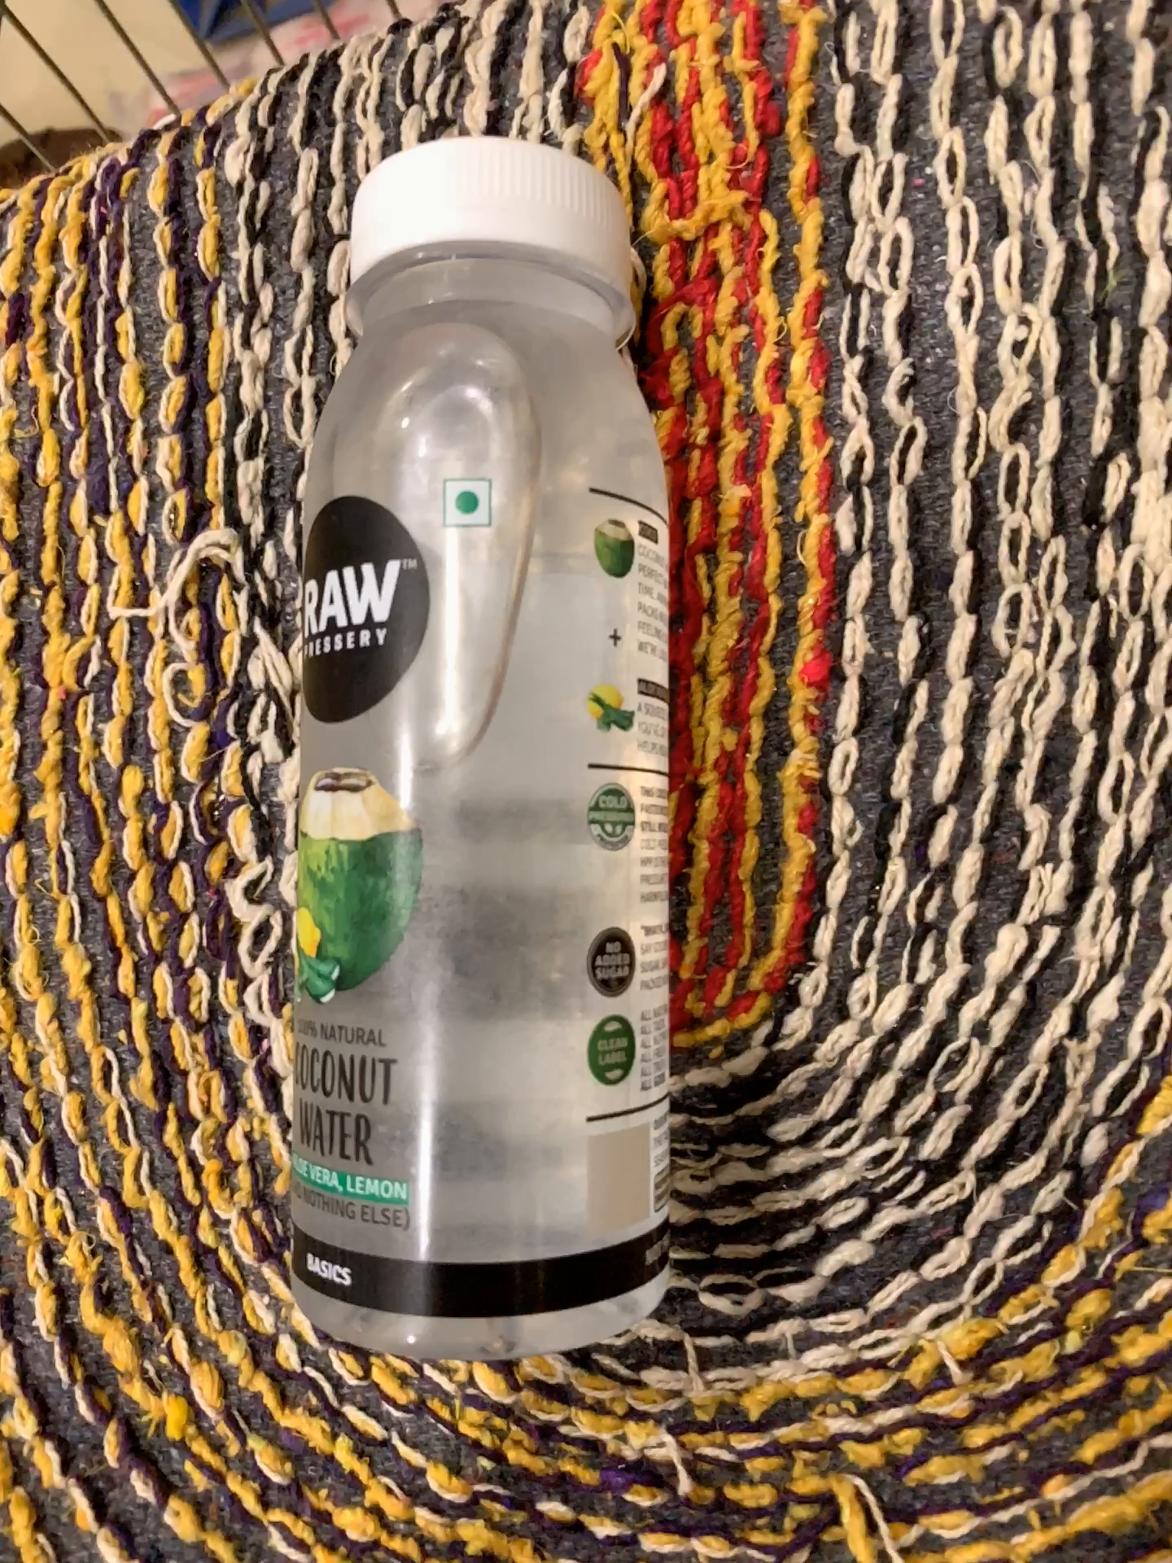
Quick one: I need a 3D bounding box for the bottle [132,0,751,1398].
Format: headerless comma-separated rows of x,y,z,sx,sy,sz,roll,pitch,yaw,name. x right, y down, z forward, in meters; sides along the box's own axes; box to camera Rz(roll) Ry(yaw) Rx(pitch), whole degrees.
-0.017,-0.011,0.164,0.060,0.050,0.150,-3,83,37,bottle
